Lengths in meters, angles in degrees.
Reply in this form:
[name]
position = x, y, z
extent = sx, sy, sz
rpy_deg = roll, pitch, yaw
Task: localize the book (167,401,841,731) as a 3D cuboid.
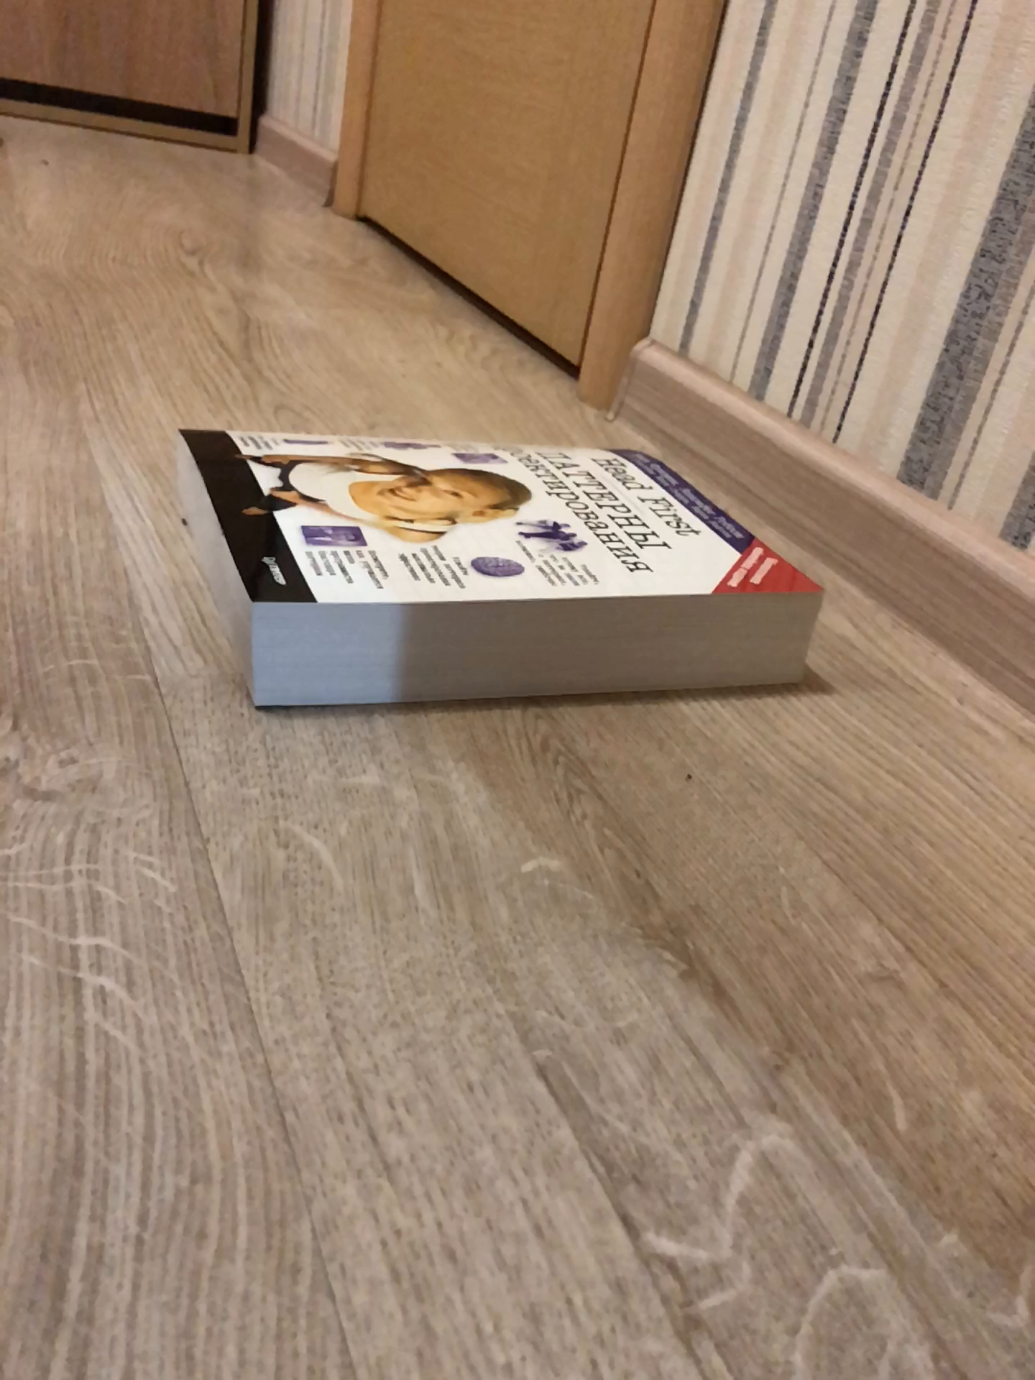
[book]
position = -0.019, -0.068, 0.511
extent = 0.240, 0.049, 0.207
rpy_deg = -4, 33, -23
